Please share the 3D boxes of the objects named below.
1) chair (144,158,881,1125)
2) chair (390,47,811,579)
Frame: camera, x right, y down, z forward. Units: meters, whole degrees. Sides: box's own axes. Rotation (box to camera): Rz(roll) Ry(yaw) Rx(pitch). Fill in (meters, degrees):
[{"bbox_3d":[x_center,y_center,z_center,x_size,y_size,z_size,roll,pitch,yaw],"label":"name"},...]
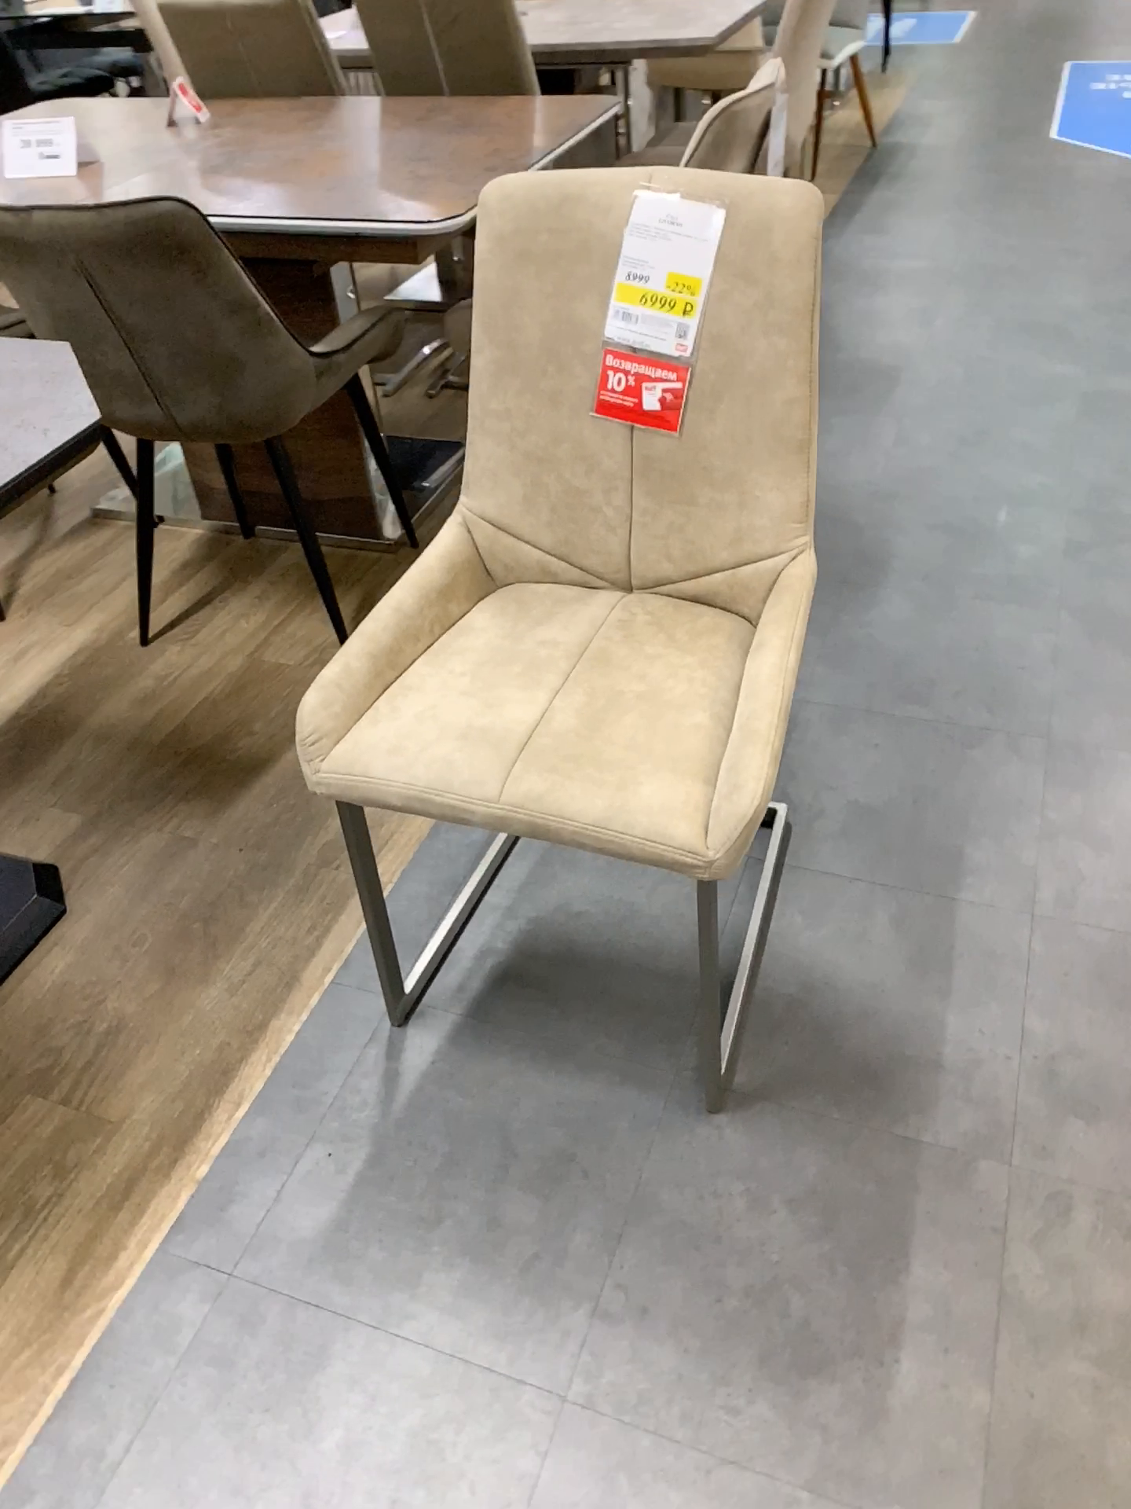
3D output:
[{"bbox_3d":[0.029,-0.135,1.352,0.510,0.887,0.586,9,41,18],"label":"chair"},{"bbox_3d":[0.110,-0.875,2.318,0.624,0.842,0.483,10,41,19],"label":"chair"}]
